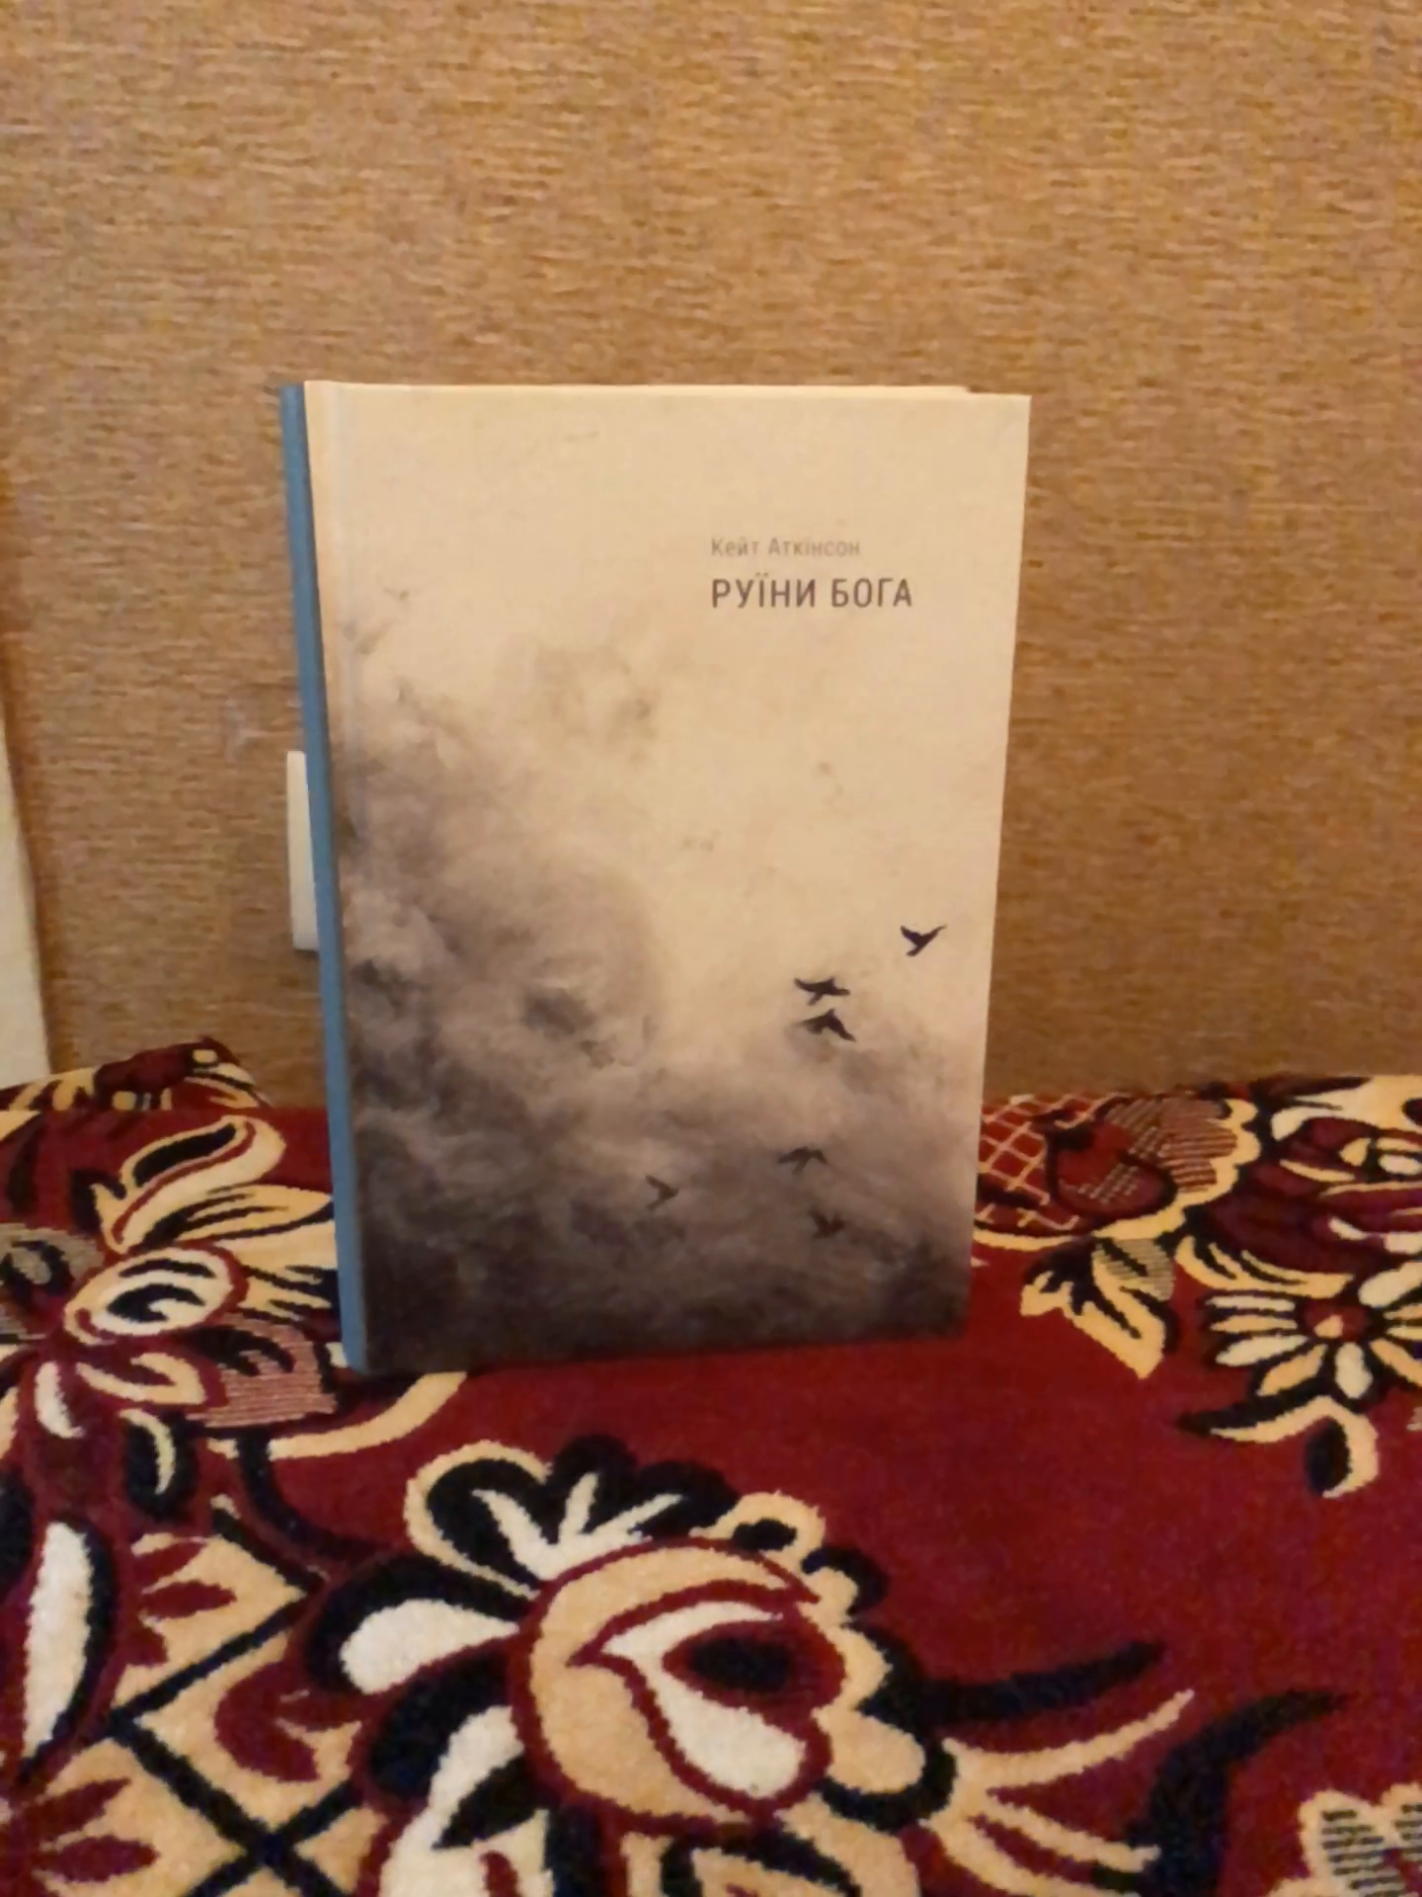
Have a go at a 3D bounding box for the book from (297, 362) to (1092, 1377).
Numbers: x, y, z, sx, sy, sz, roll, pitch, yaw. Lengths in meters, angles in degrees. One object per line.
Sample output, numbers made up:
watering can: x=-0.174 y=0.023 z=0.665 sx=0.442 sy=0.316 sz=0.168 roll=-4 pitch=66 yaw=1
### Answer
book: x=-0.006 y=-0.014 z=0.344 sx=0.150 sy=0.210 sz=0.040 roll=-1 pitch=17 yaw=-8
